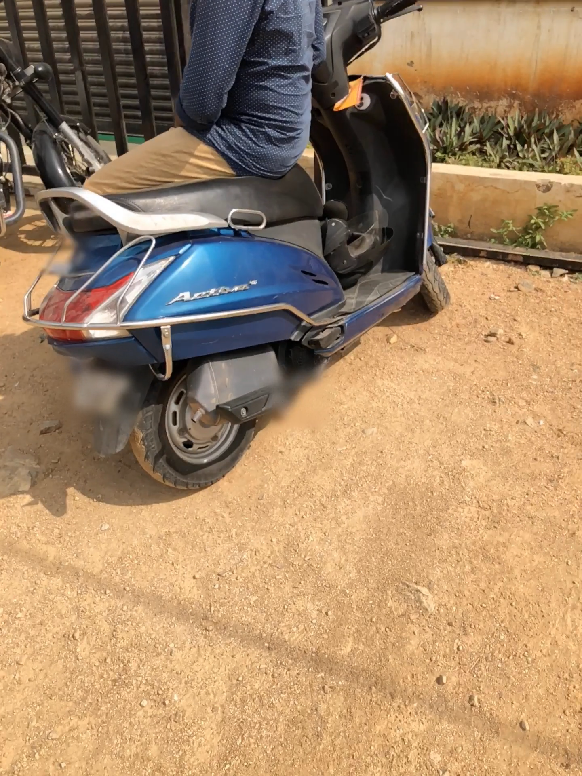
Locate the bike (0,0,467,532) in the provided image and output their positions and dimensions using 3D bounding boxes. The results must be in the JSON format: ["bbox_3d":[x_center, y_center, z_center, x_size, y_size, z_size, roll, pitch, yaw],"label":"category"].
[{"bbox_3d":[-0.083,-0.605,1.975,0.622,1.114,1.558,18,39,28],"label":"bike"}]
